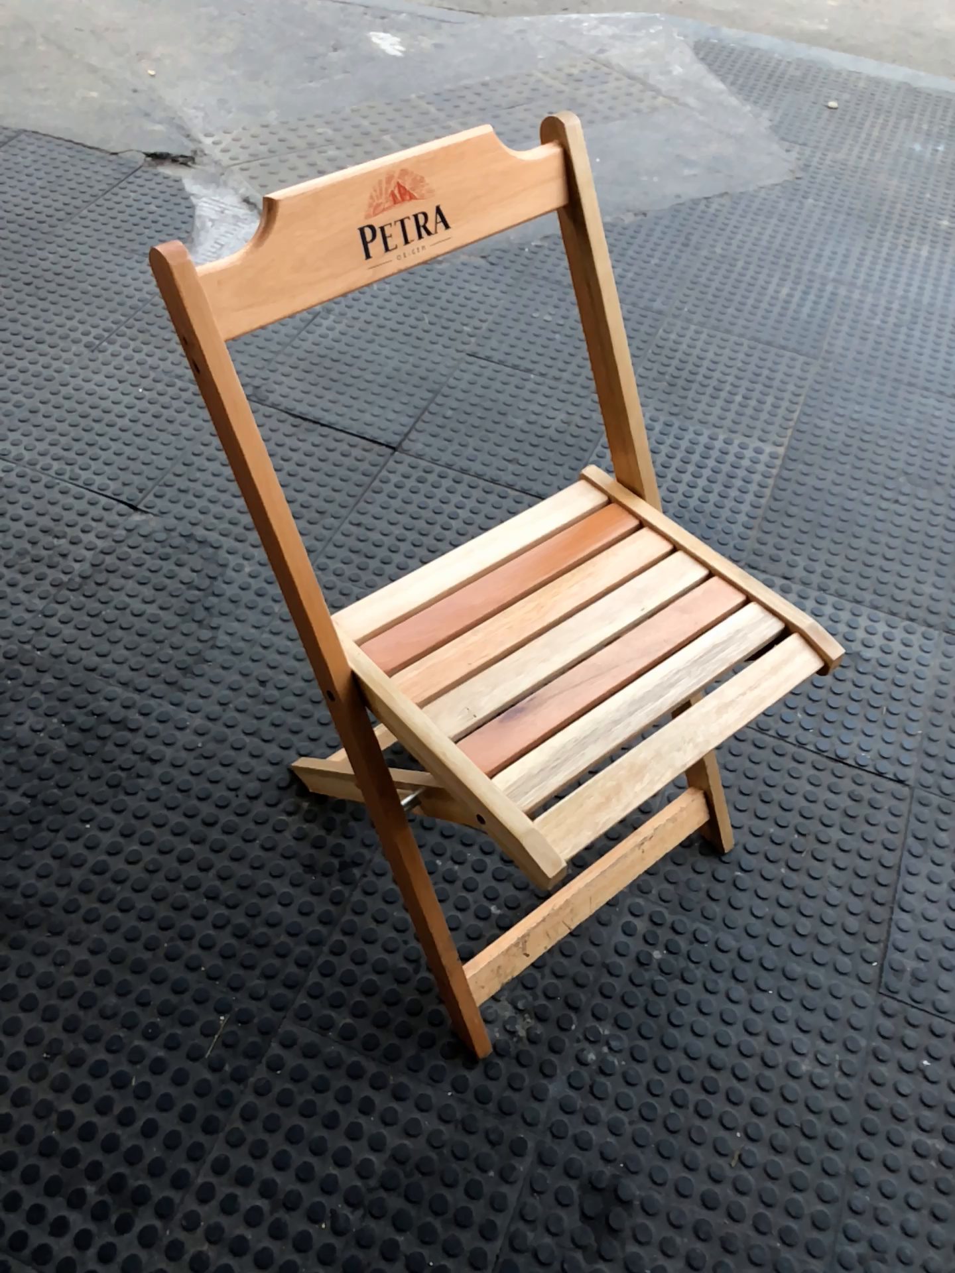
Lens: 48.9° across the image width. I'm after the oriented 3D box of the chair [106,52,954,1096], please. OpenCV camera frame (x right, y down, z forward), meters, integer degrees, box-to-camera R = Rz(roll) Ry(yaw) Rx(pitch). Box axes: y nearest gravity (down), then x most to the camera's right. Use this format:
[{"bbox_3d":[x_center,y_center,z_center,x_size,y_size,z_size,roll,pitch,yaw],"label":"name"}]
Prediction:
[{"bbox_3d":[0.060,-0.028,1.027,0.482,0.755,0.501,-31,59,-26],"label":"chair"}]
